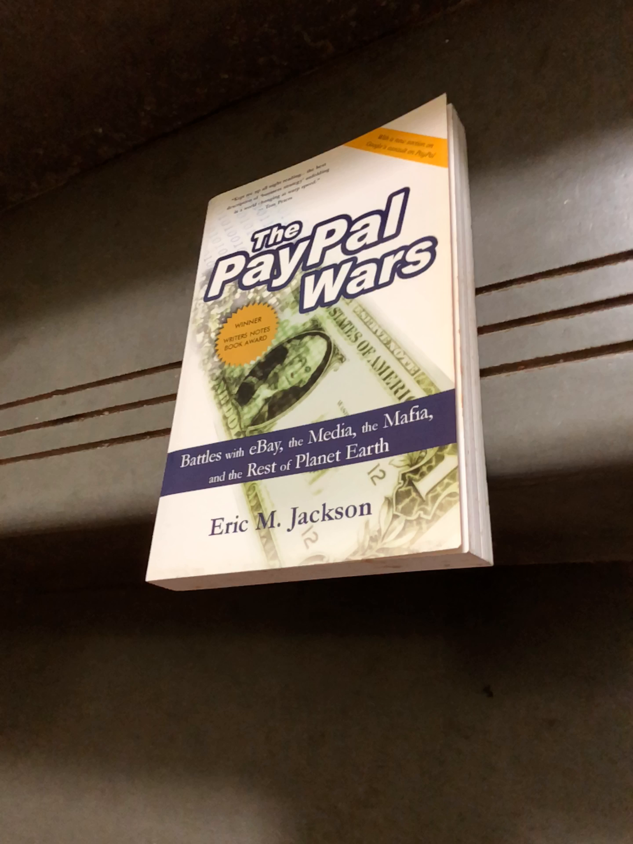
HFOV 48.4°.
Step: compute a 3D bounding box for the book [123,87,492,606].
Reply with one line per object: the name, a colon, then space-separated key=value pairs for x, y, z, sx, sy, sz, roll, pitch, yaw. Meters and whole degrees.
book: x=-0.004 y=-0.035 z=0.322 sx=0.150 sy=0.030 sz=0.220 roll=-12 pitch=60 yaw=29
